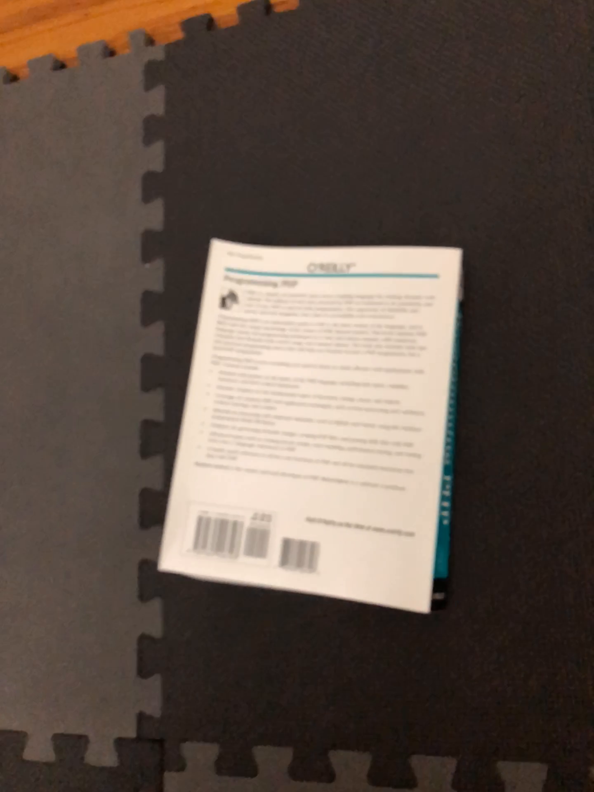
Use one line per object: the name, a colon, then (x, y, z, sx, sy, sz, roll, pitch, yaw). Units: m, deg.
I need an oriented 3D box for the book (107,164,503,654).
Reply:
book: (0.007, -0.005, 0.443, 0.230, 0.040, 0.290, 4, 81, 18)
